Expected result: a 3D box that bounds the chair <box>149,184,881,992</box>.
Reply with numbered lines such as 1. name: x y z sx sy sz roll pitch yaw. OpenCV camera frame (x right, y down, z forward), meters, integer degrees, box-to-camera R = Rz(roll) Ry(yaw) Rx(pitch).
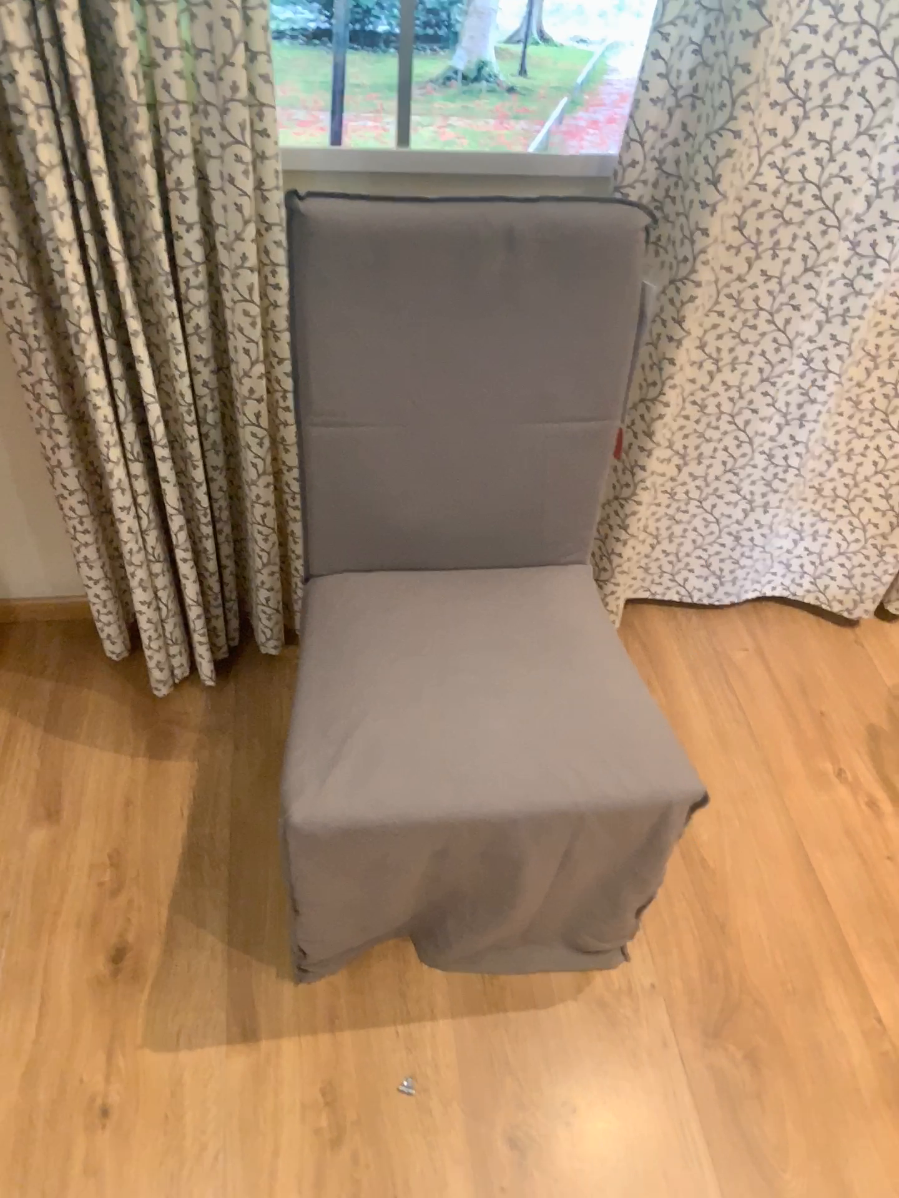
1. chair: -0.003 0.019 1.206 0.570 0.877 0.592 -3 46 -8
